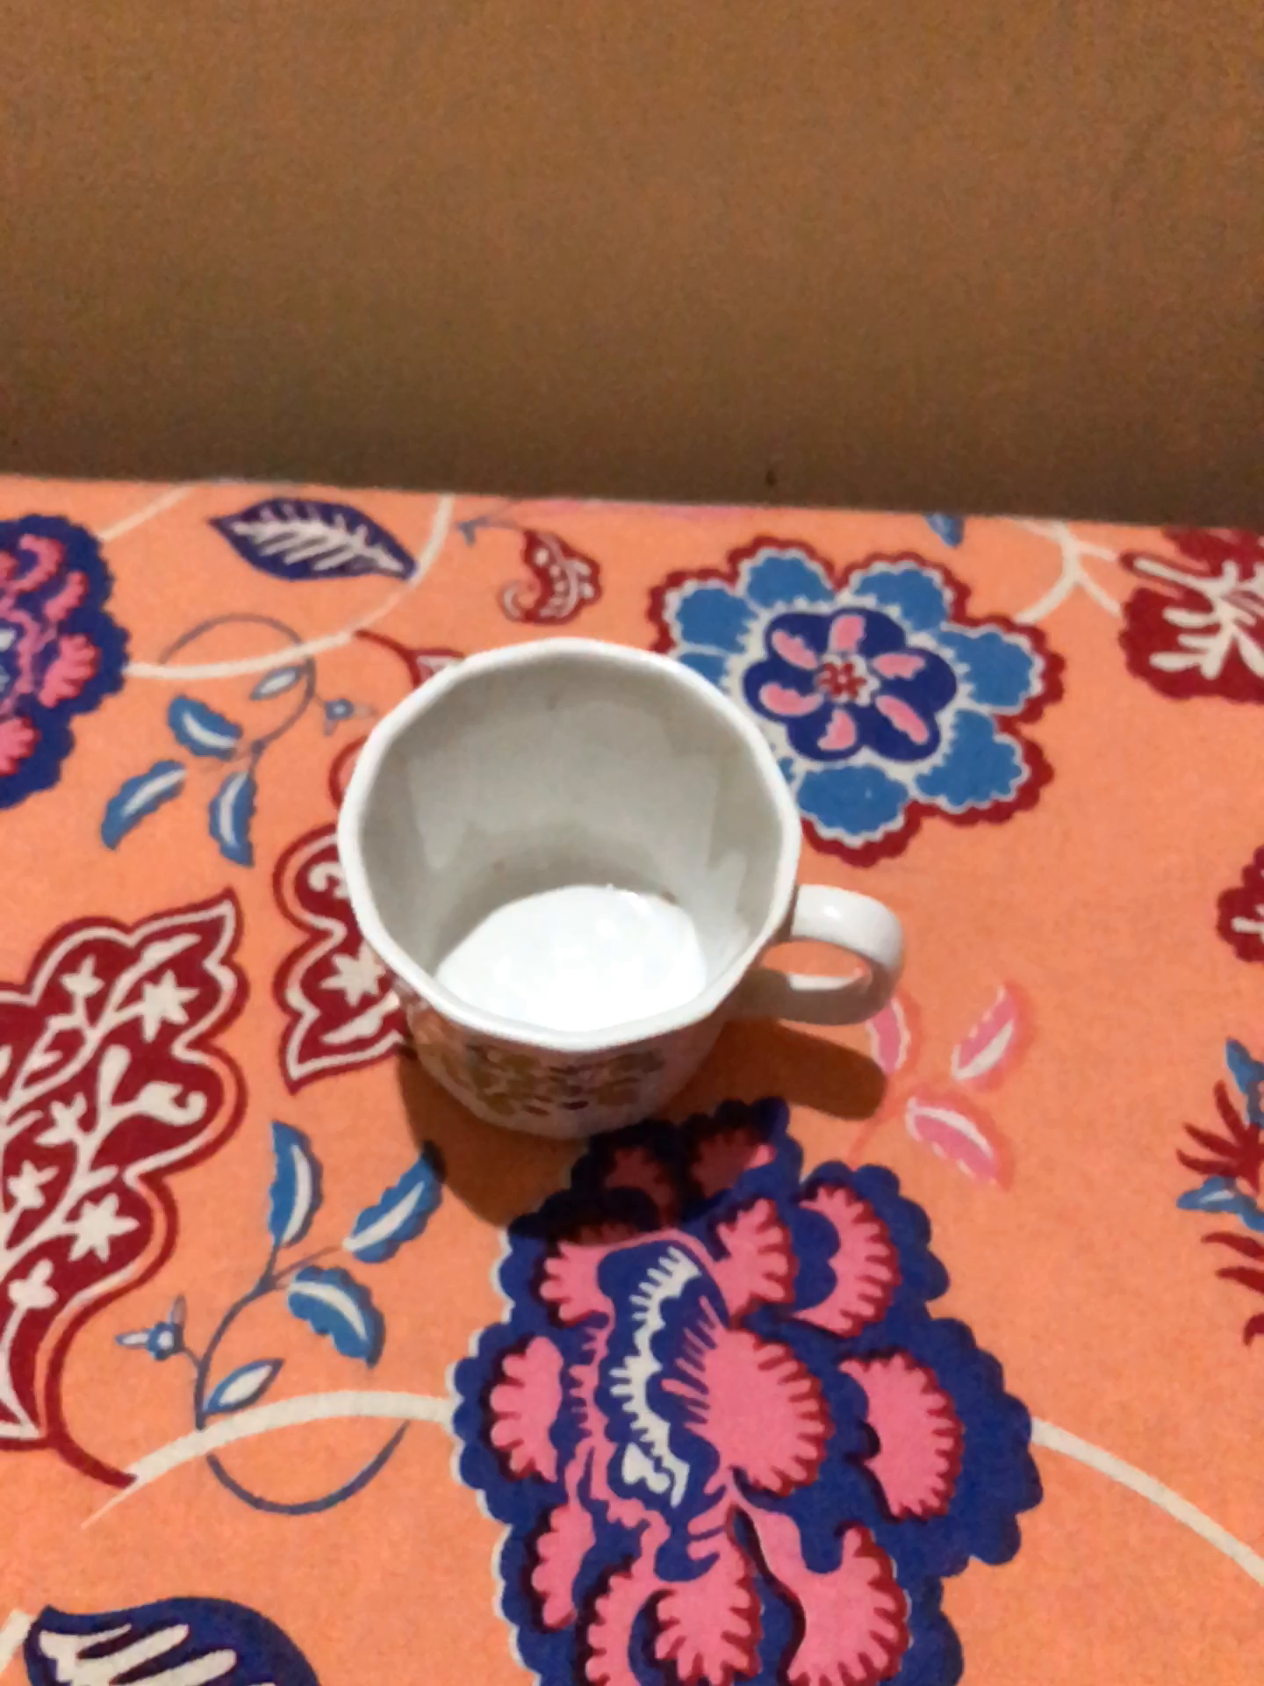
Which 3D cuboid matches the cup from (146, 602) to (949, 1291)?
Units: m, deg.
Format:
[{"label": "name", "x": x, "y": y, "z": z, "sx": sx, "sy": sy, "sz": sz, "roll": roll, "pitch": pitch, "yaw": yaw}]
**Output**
[{"label": "cup", "x": -0.009, "y": 0.018, "z": 0.215, "sx": 0.090, "sy": 0.070, "sz": 0.060, "roll": 14, "pitch": 63, "yaw": 8}]
